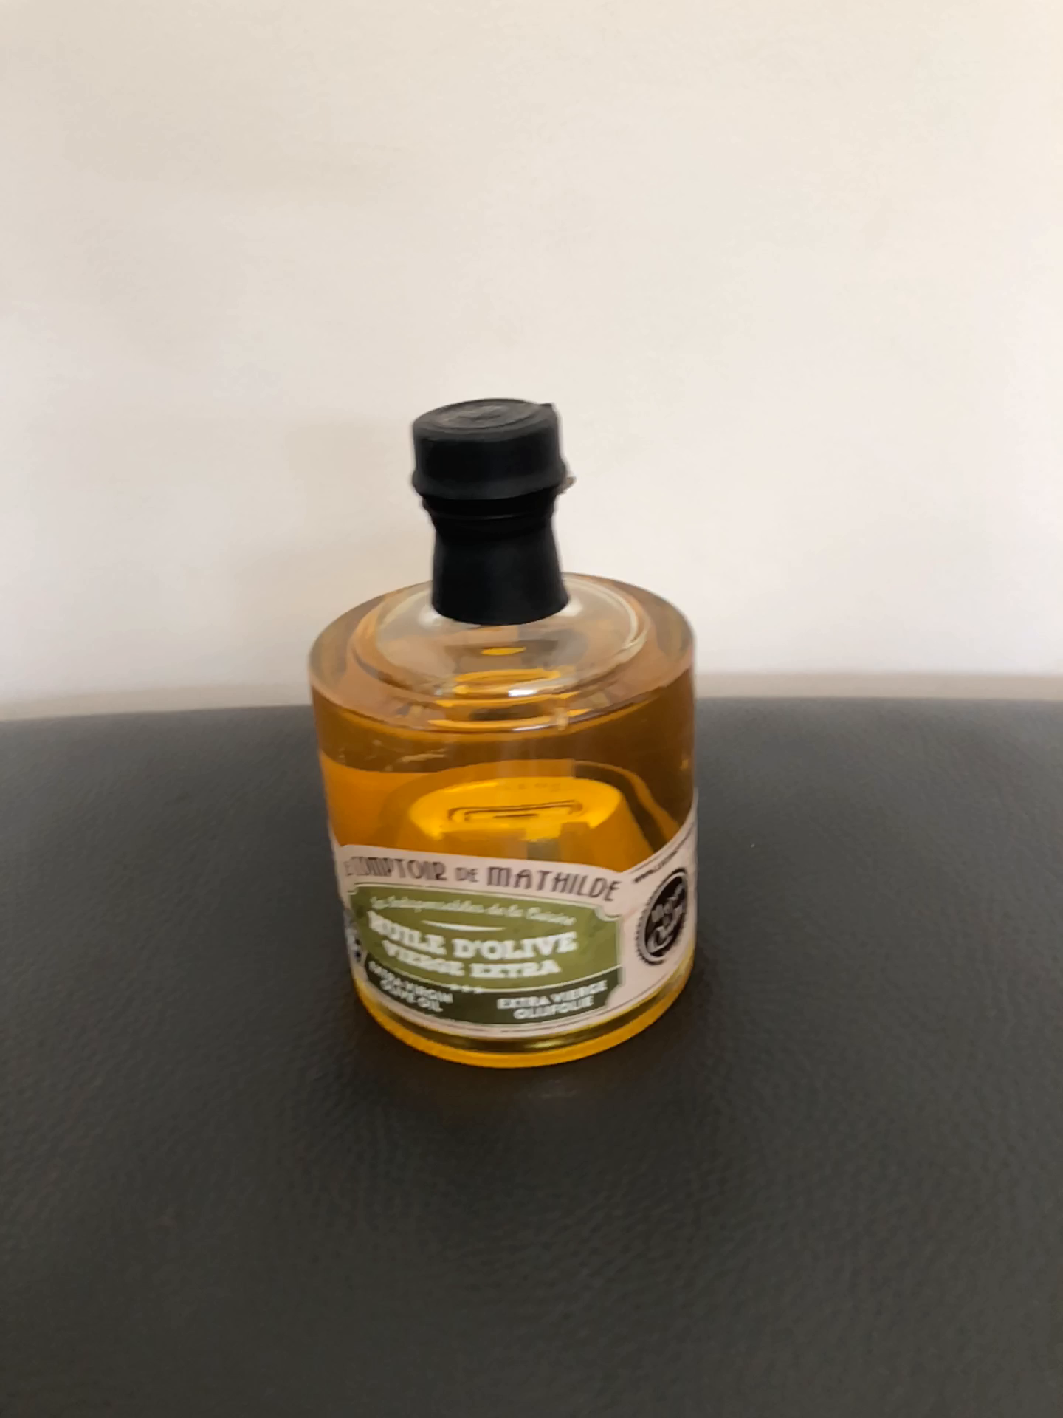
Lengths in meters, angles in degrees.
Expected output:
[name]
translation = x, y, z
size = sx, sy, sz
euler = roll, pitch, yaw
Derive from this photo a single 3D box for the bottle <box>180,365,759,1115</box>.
[bottle]
translation = -0.004, 0.000, 0.261
size = 0.090, 0.129, 0.091
euler = -1, 26, 1
